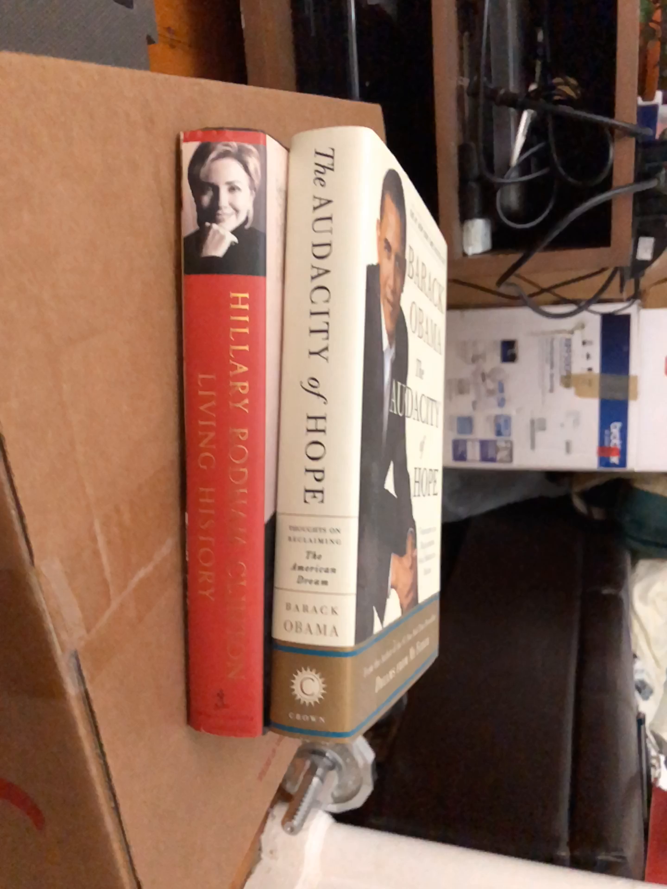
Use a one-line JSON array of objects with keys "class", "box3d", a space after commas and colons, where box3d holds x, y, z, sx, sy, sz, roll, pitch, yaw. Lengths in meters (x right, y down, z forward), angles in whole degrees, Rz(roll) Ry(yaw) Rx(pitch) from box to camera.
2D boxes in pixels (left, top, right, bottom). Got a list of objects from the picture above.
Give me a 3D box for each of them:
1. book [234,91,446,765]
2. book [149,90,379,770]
[{"class": "book", "box3d": [0.016, -0.004, 0.371, 0.191, 0.040, 0.250, 8, 84, -71]}, {"class": "book", "box3d": [-0.021, -0.008, 0.359, 0.171, 0.040, 0.250, -12, 102, -70]}]
